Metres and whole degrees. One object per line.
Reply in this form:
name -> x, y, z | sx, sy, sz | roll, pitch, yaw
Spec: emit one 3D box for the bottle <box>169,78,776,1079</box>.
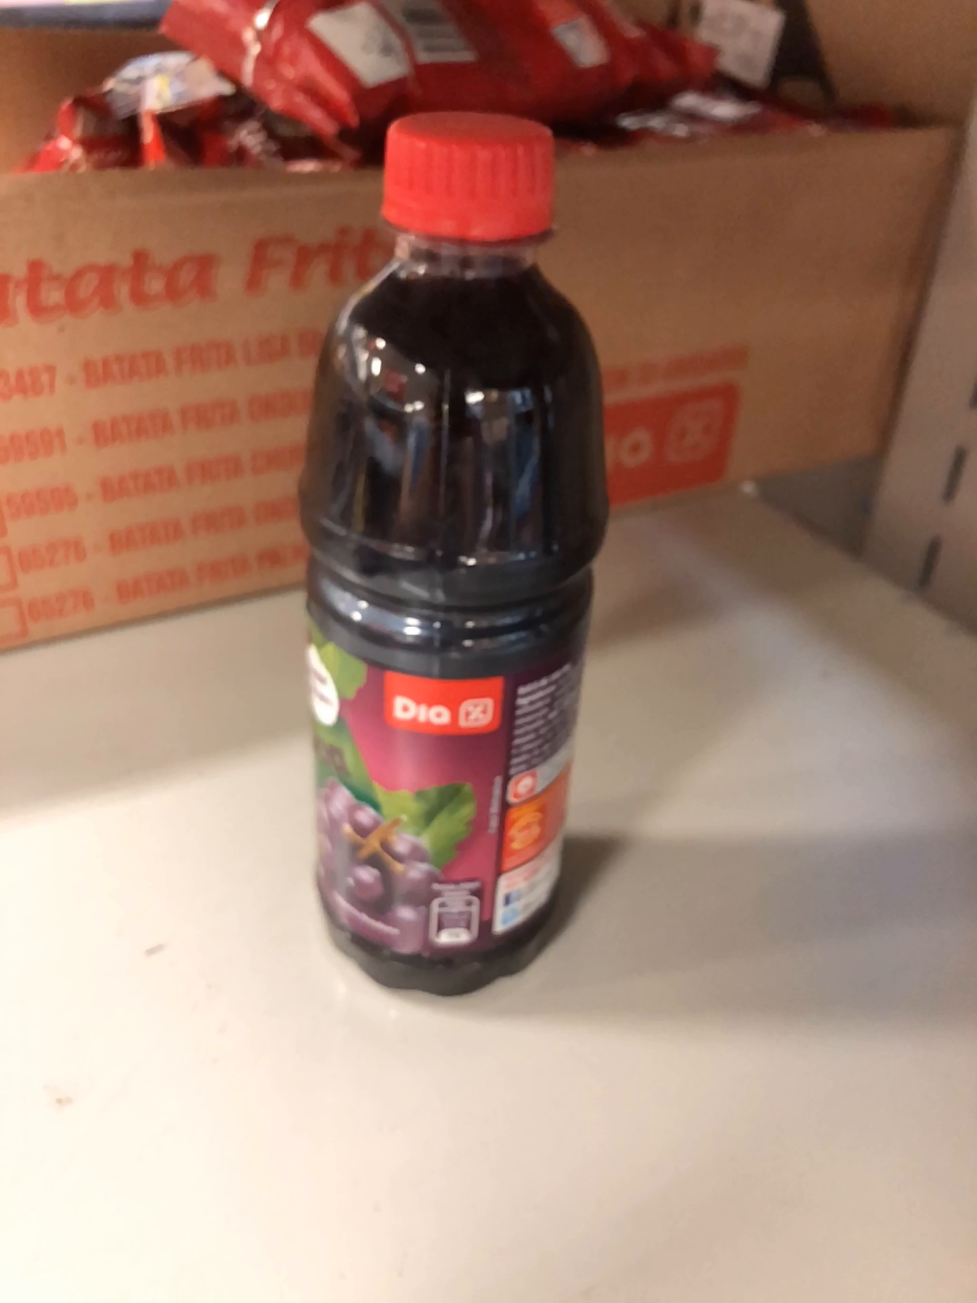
bottle -> -0.006, -0.010, 0.250 | 0.070, 0.198, 0.080 | -27, 44, -34
